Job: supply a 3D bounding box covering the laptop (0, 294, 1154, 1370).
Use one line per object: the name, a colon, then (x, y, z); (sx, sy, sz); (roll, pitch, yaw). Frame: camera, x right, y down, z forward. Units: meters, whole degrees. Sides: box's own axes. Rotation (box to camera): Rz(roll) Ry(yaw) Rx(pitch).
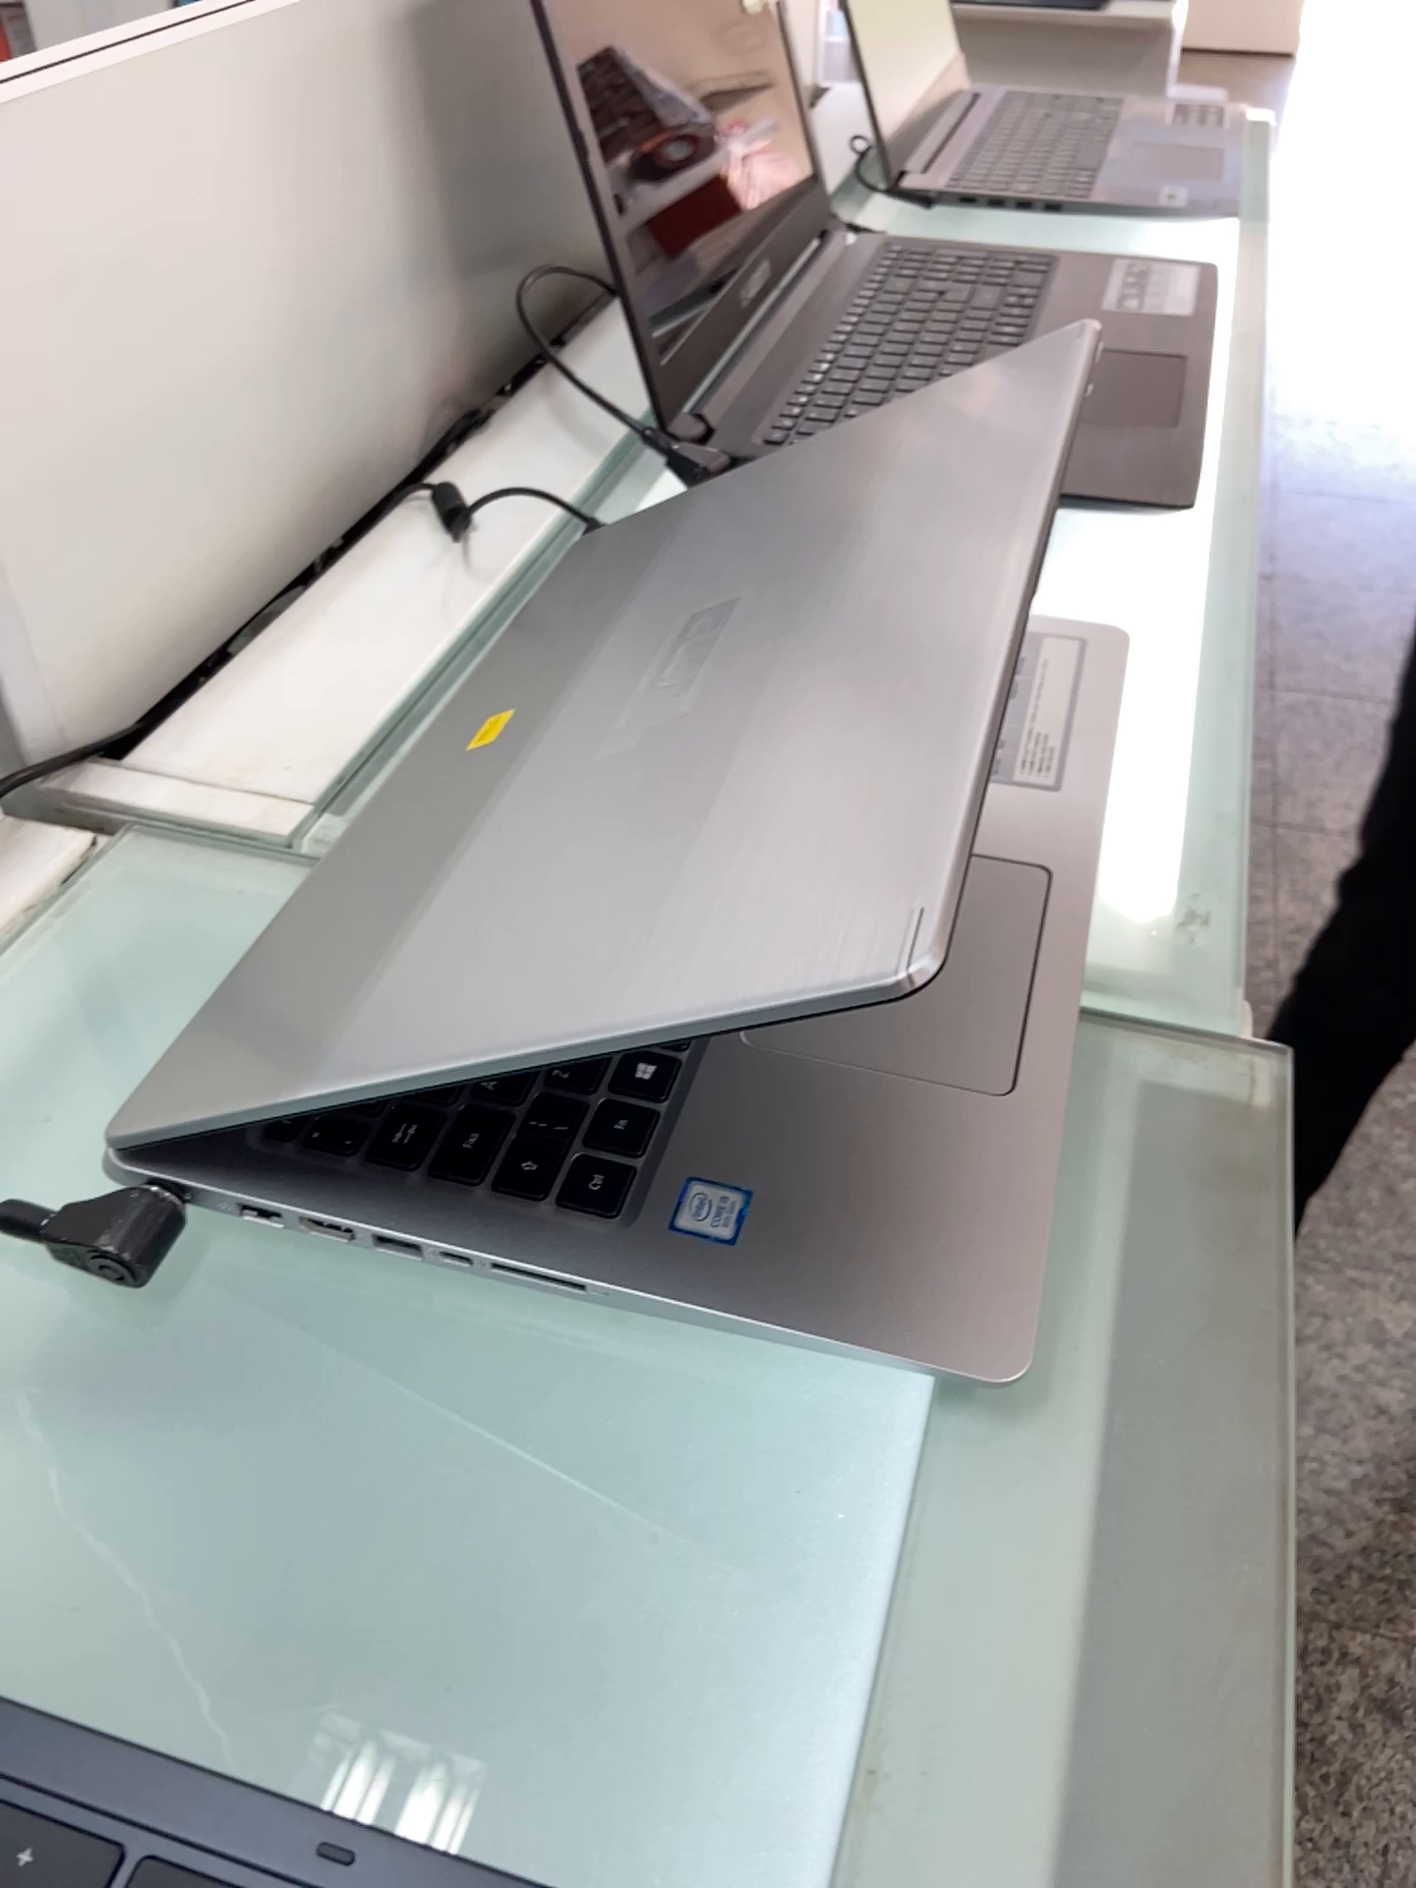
laptop: (0.000, -0.081, 0.460); (0.245, 0.116, 0.366); (9, 41, 12)
